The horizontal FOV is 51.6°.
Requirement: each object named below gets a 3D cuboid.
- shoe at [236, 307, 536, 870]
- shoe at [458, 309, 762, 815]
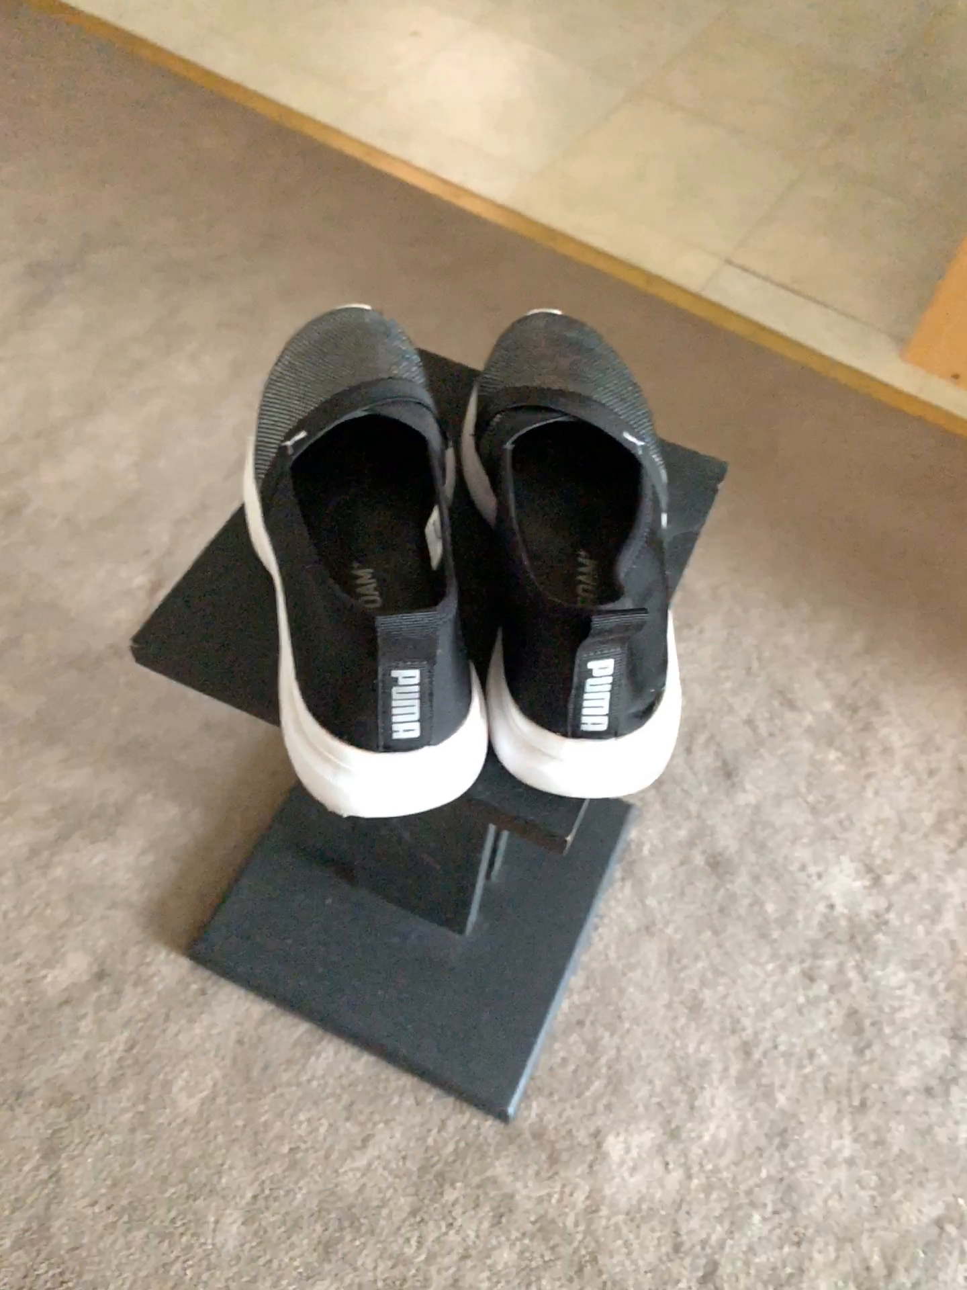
[{"bbox_3d":[-0.053,-0.044,0.422,0.090,0.079,0.262,-6,44,-9],"label":"shoe"},{"bbox_3d":[0.039,-0.050,0.438,0.090,0.079,0.242,1,46,-5],"label":"shoe"}]
